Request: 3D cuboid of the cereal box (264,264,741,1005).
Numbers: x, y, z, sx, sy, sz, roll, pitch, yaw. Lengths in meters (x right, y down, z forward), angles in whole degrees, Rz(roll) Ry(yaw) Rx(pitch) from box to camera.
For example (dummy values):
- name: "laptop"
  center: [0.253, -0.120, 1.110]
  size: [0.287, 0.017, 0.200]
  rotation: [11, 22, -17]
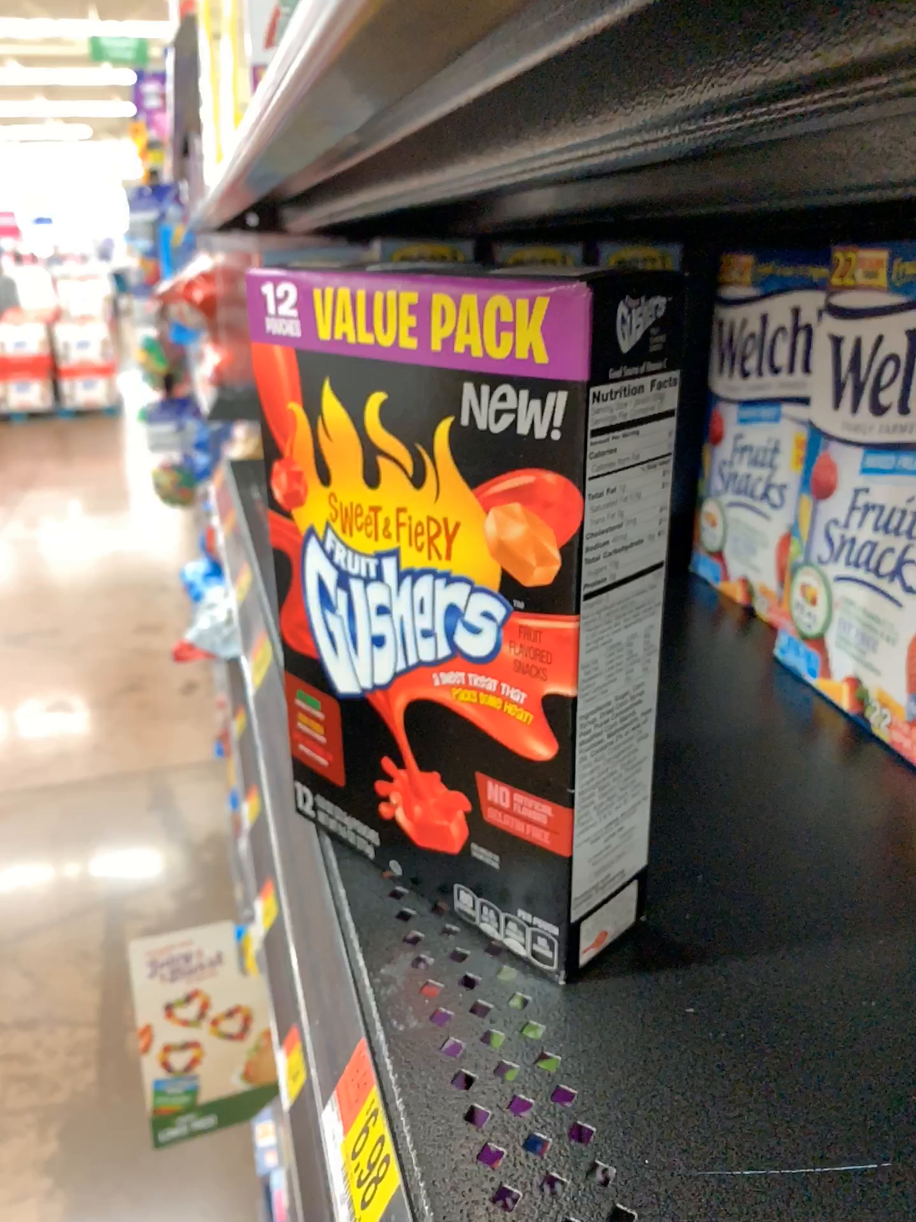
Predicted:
- name: "cereal box"
  center: [0.009, -0.002, 0.331]
  size: [0.150, 0.219, 0.050]
  rotation: [19, 30, 41]
